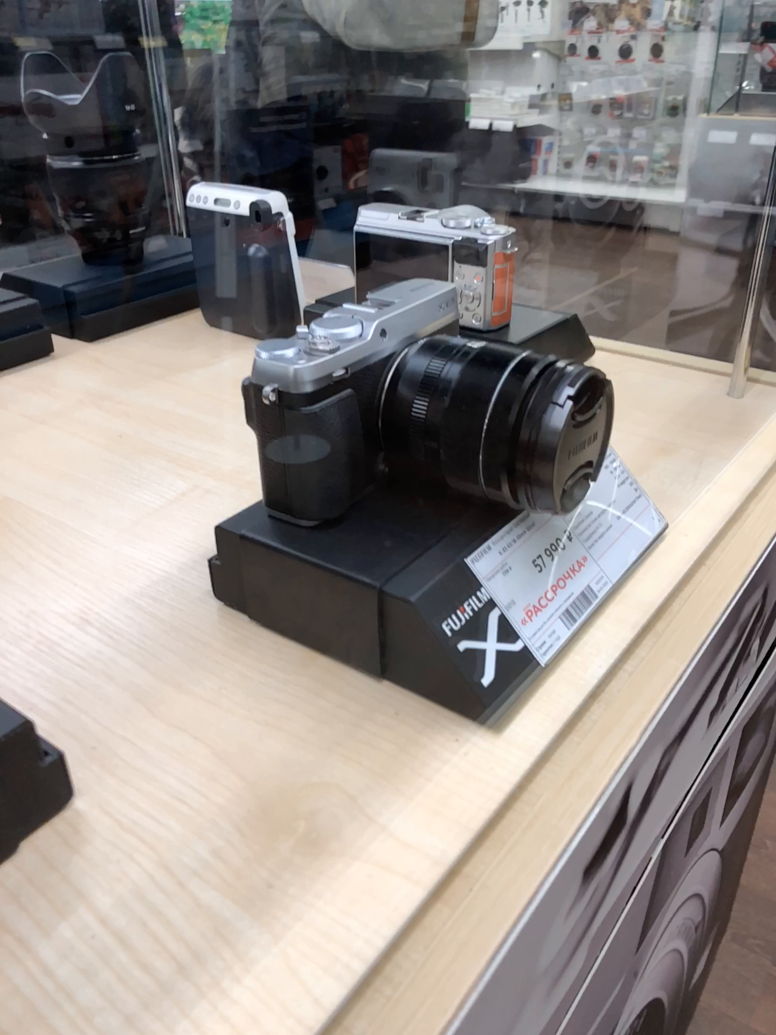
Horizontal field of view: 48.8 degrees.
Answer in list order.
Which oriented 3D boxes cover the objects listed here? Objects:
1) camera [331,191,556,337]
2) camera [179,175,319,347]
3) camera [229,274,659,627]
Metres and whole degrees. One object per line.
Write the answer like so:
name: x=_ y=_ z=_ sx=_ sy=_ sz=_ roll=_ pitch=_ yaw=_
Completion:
camera: x=0.037 y=-0.180 z=0.595 sx=0.132 sy=0.068 sz=0.077 roll=20 pitch=35 yaw=33
camera: x=-0.105 y=-0.198 z=0.657 sx=0.088 sy=0.109 sz=0.045 roll=21 pitch=38 yaw=34
camera: x=0.027 y=-0.040 z=0.355 sx=0.116 sy=0.080 sz=0.132 roll=18 pitch=35 yaw=31
